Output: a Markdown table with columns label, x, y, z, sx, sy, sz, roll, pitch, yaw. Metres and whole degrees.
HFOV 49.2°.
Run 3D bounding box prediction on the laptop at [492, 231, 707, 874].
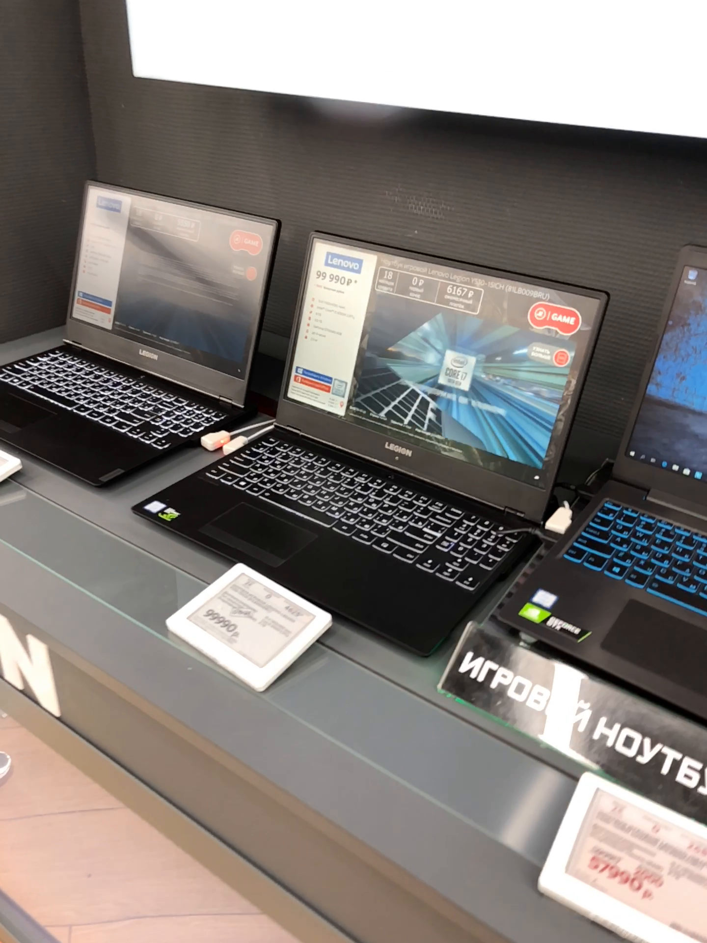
| label | x | y | z | sx | sy | sz | roll | pitch | yaw |
| --- | --- | --- | --- | --- | --- | --- | --- | --- | --- |
| laptop | 0.363 | 0.003 | 0.596 | 0.355 | 0.225 | 0.335 | 22 | 39 | 31 |

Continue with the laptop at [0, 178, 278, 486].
| label | x | y | z | sx | sy | sz | roll | pitch | yaw |
| --- | --- | --- | --- | --- | --- | --- | --- | --- | --- |
| laptop | -0.329 | -0.204 | 0.973 | 0.353 | 0.223 | 0.315 | 20 | 34 | 27 |

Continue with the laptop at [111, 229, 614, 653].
| label | x | y | z | sx | sy | sz | roll | pitch | yaw |
| --- | --- | --- | --- | --- | --- | --- | --- | --- | --- |
| laptop | 0.009 | -0.068 | 0.766 | 0.353 | 0.225 | 0.301 | 21 | 35 | 29 |
